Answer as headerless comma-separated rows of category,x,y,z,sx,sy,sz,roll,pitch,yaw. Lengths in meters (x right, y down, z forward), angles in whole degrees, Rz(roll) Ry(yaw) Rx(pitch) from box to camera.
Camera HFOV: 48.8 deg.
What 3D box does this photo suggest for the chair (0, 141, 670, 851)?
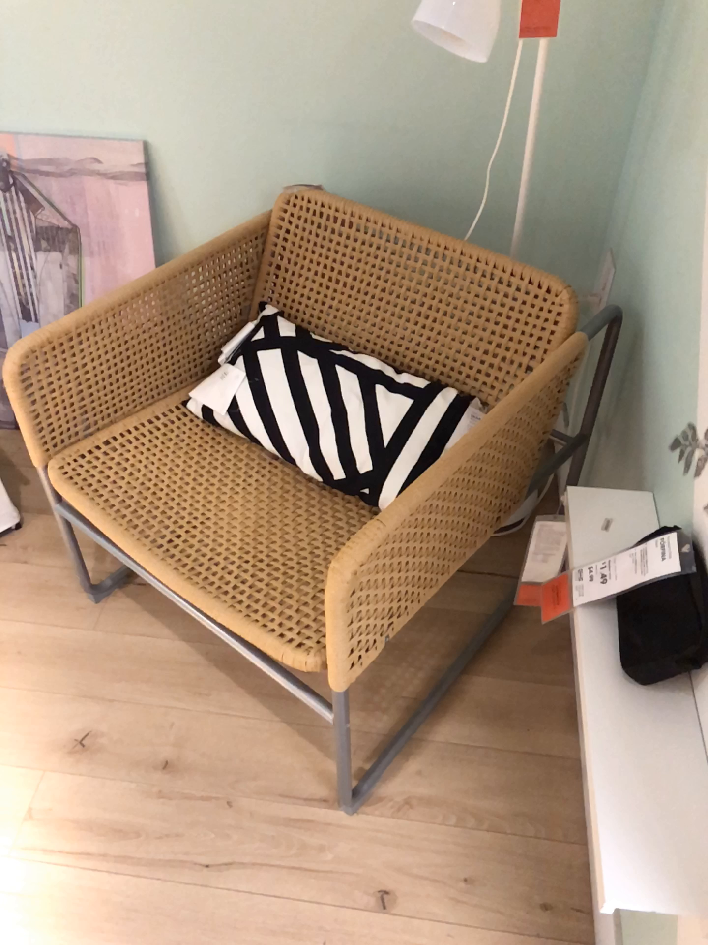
chair,-0.078,-0.041,1.333,0.791,0.628,0.752,29,51,27
